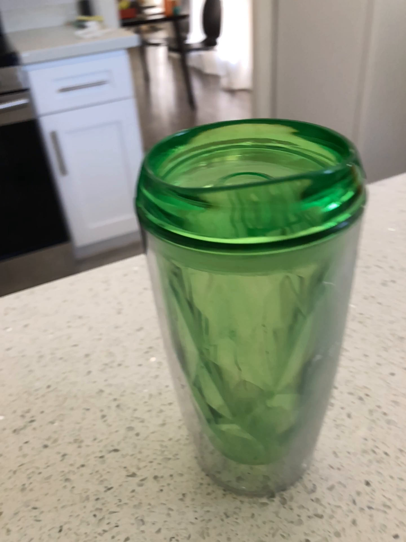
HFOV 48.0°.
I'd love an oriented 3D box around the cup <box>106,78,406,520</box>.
[{"bbox_3d":[0.018,0.013,0.202,0.090,0.159,0.090,-4,34,2],"label":"cup"}]
